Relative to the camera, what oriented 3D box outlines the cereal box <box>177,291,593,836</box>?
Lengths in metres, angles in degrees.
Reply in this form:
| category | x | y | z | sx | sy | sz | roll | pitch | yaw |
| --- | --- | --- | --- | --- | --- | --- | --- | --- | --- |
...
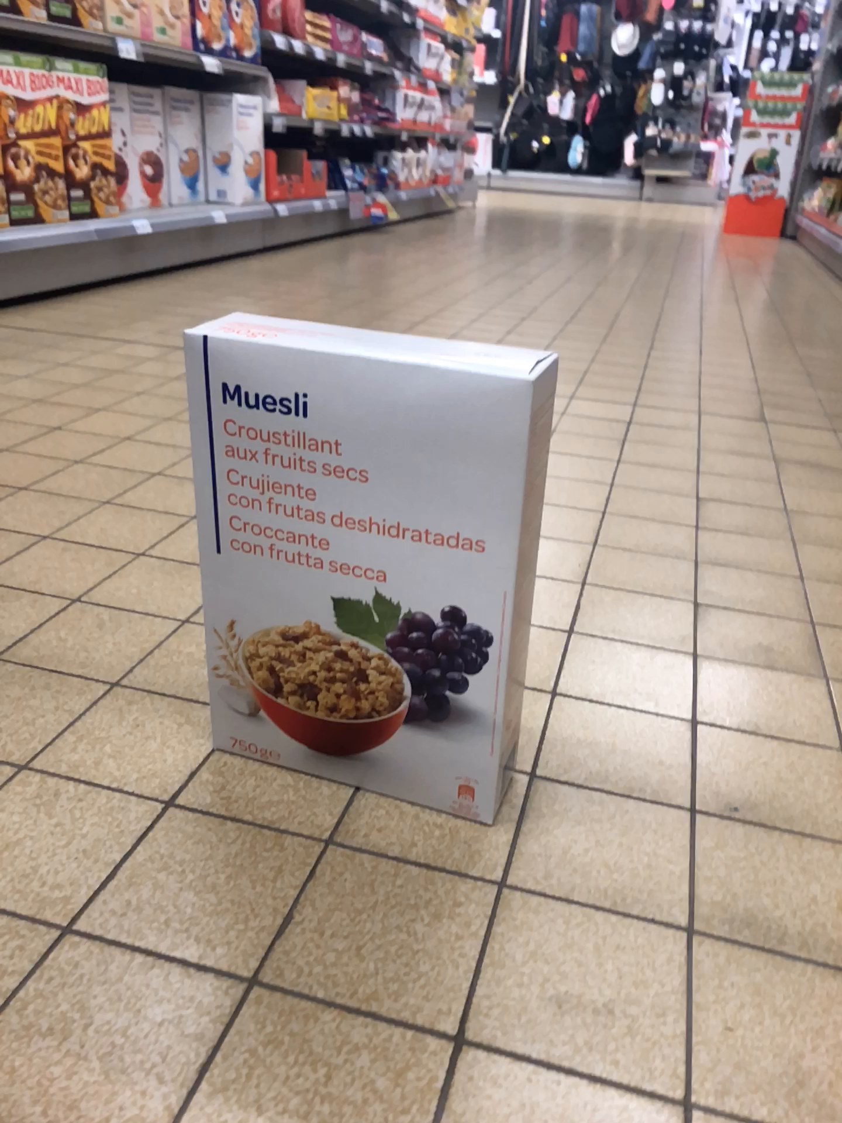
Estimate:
| category | x | y | z | sx | sy | sz | roll | pitch | yaw |
| --- | --- | --- | --- | --- | --- | --- | --- | --- | --- |
| cereal box | -0.026 | 0.001 | 0.517 | 0.200 | 0.268 | 0.060 | 12 | 26 | 17 |
